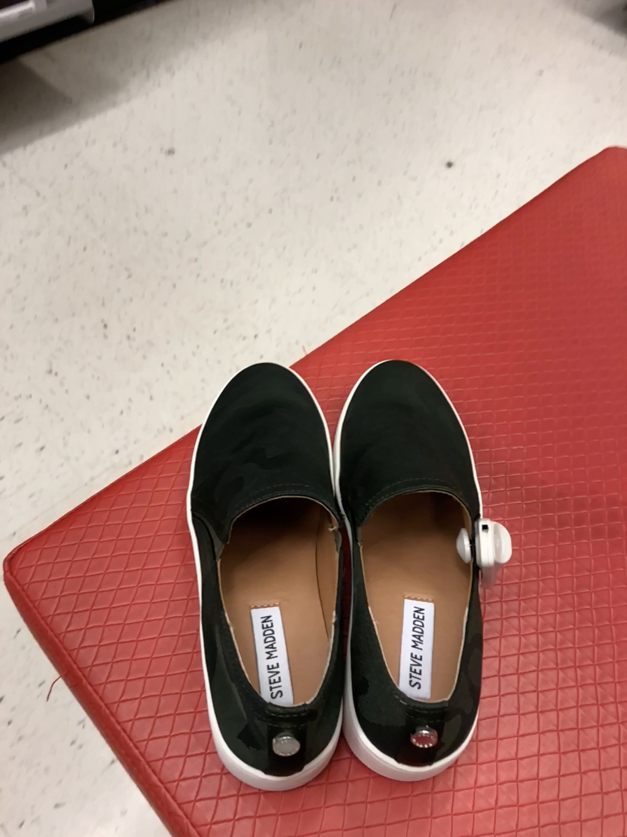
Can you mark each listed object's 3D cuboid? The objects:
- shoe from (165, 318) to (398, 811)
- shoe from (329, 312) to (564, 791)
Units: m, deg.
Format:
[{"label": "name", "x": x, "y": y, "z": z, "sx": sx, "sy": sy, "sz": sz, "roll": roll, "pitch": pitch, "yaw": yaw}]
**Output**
[{"label": "shoe", "x": -0.029, "y": 0.067, "z": 0.383, "sx": 0.091, "sy": 0.090, "sz": 0.243, "roll": -5, "pitch": 54, "yaw": -6}, {"label": "shoe", "x": 0.057, "y": 0.062, "z": 0.390, "sx": 0.088, "sy": 0.090, "sz": 0.249, "roll": 1, "pitch": 53, "yaw": -1}]
